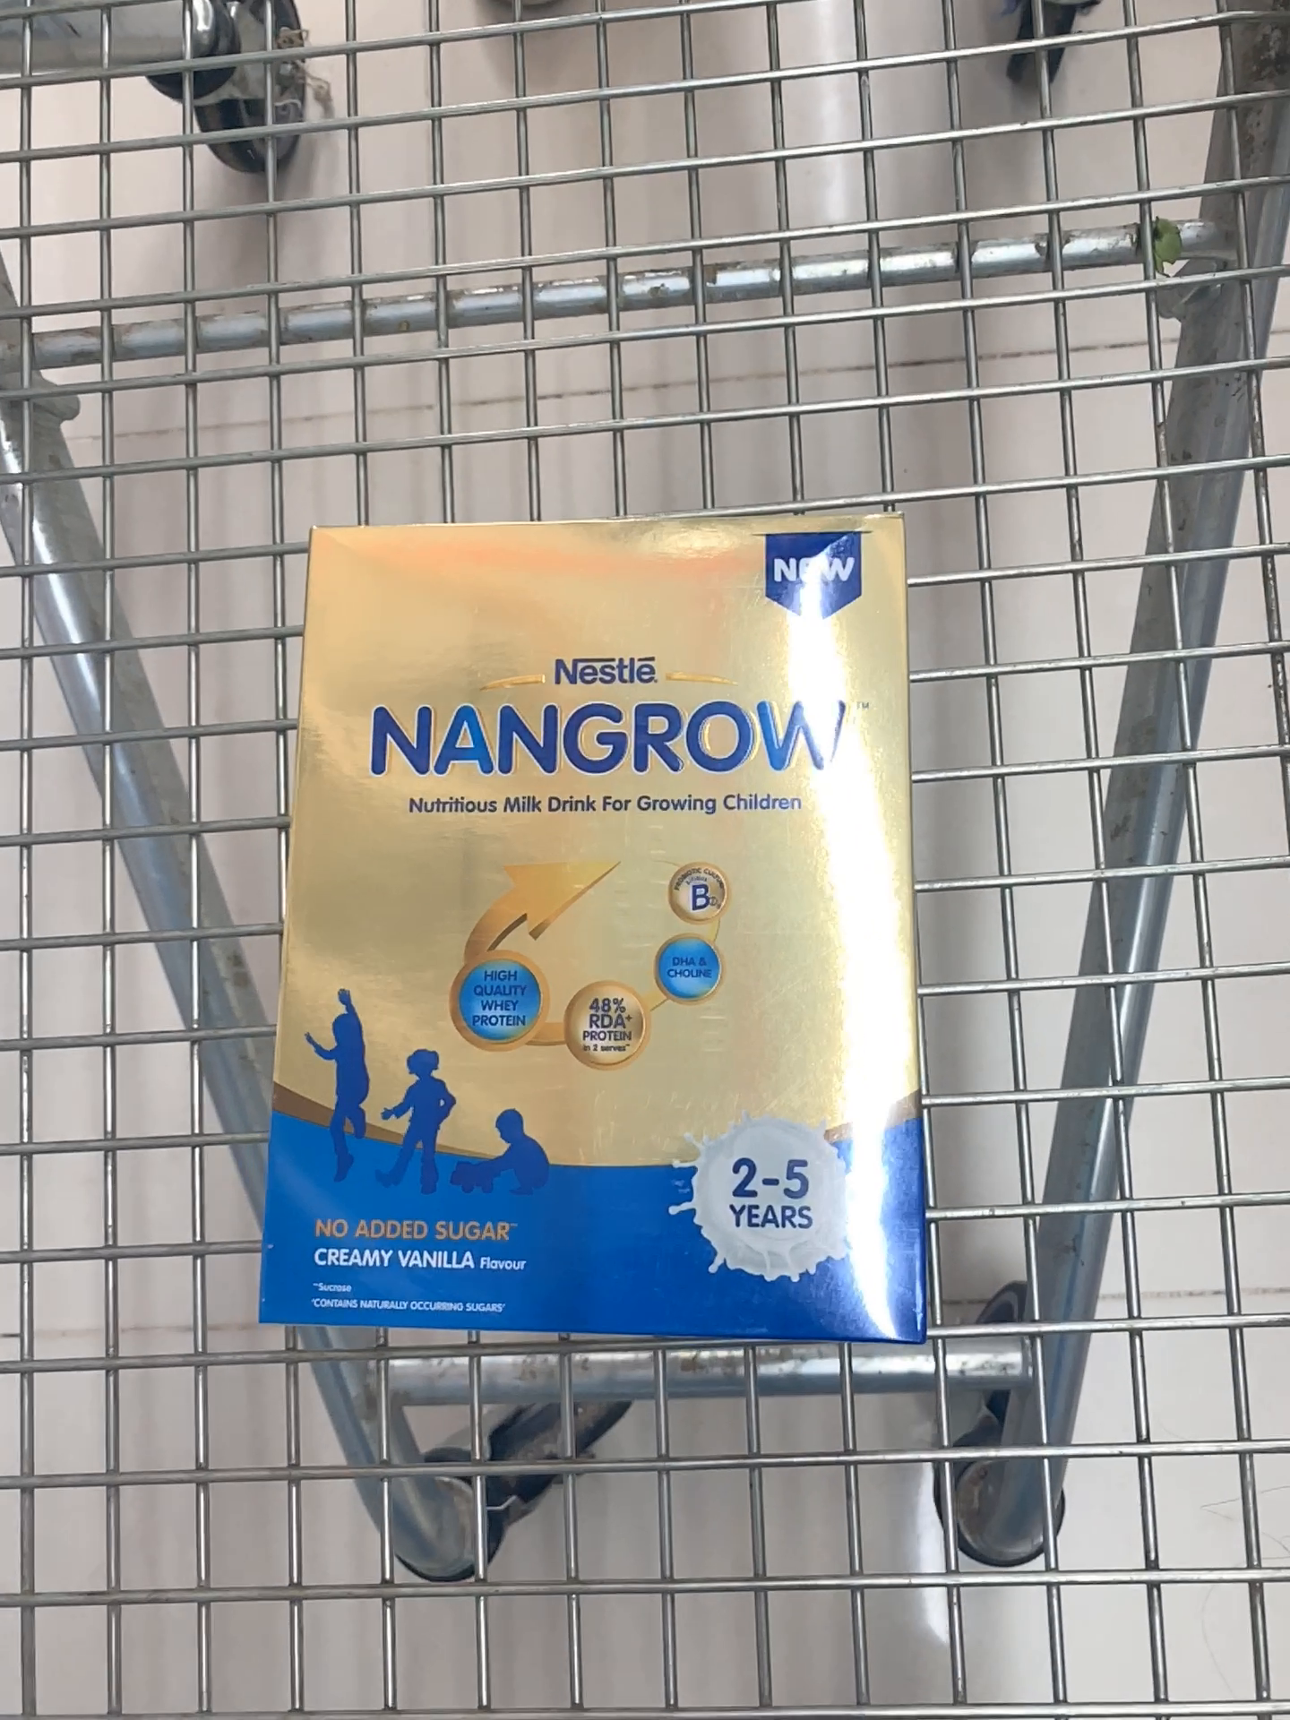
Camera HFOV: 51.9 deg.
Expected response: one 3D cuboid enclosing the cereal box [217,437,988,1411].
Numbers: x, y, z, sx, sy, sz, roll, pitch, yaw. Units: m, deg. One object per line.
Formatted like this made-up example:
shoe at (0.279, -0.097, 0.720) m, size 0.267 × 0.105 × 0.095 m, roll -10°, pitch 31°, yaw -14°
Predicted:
cereal box at (-0.006, 0.012, 0.296) m, size 0.150 × 0.060 × 0.190 m, roll 0°, pitch 84°, yaw 6°
